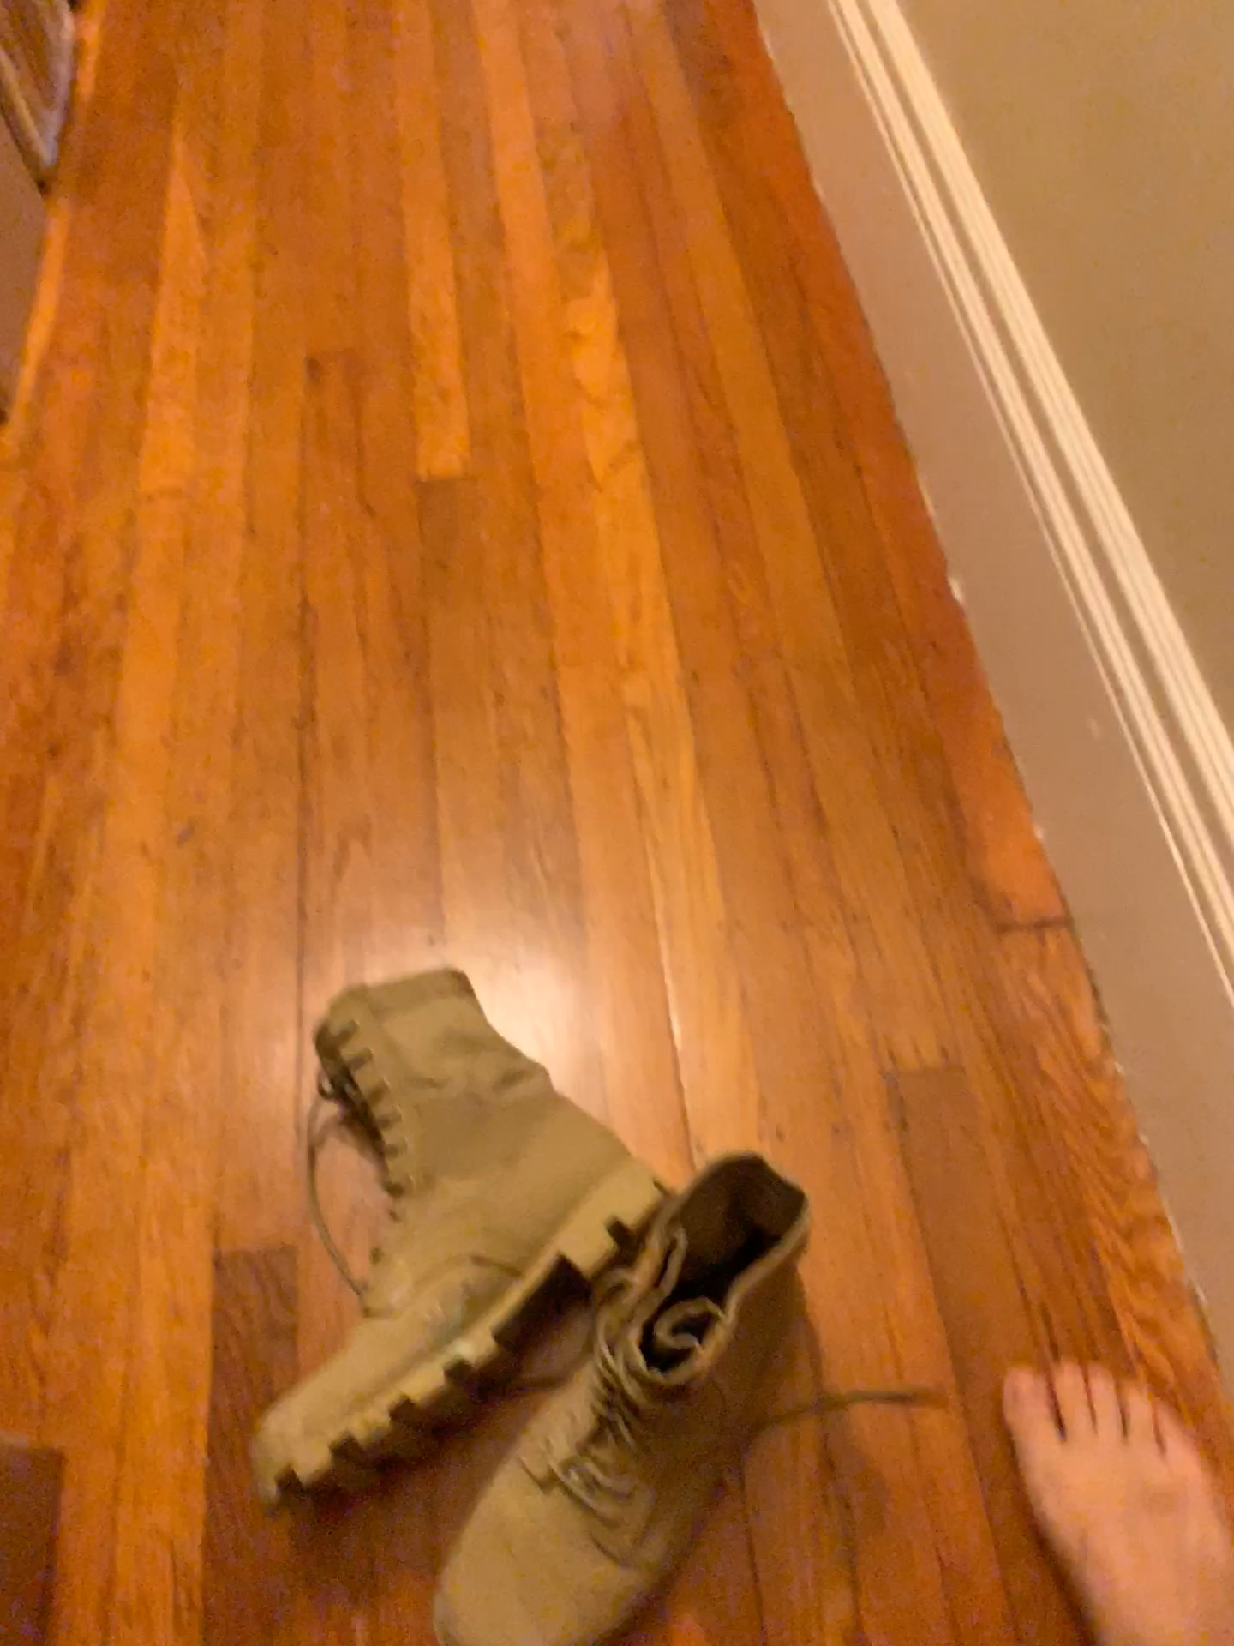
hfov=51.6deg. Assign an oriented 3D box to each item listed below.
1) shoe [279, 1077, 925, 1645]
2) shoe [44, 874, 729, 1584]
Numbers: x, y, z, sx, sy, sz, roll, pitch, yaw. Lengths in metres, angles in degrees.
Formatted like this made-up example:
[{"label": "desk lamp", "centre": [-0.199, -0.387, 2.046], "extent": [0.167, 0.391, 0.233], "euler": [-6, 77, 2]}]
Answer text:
[{"label": "shoe", "centre": [0.006, 0.306, 0.641], "extent": [0.120, 0.200, 0.290], "euler": [36, 67, 22]}, {"label": "shoe", "centre": [-0.129, 0.224, 0.764], "extent": [0.261, 0.110, 0.290], "euler": [35, 66, 28]}]
